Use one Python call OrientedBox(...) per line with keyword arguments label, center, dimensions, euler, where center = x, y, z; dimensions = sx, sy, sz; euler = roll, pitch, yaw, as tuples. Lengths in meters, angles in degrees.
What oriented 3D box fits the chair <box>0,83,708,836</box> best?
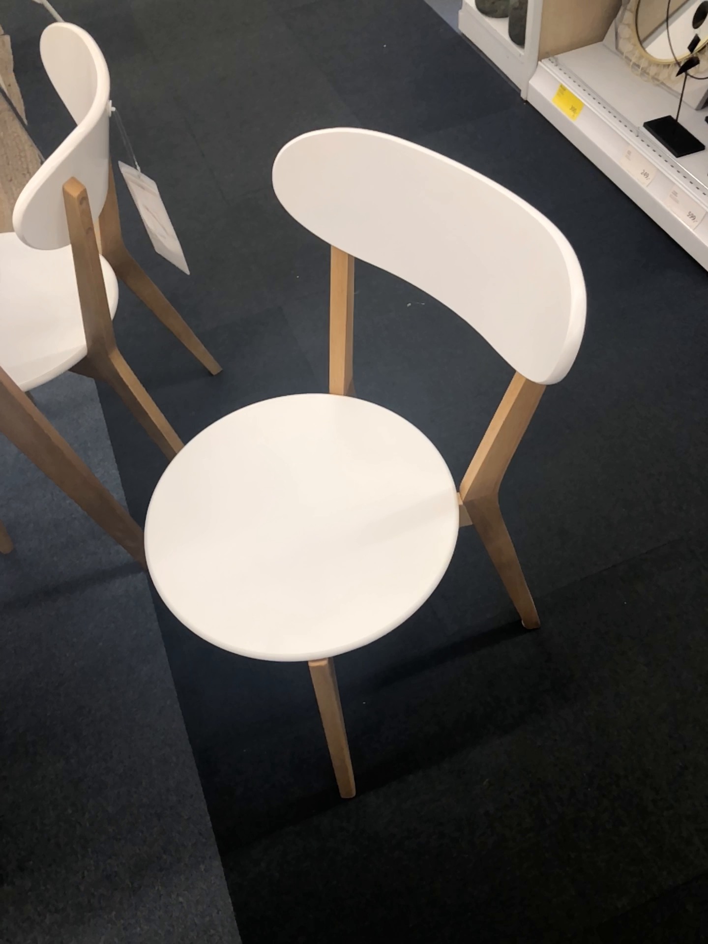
OrientedBox(label="chair", center=(-0.001, 0.002, 0.974), dimensions=(0.561, 0.598, 0.481), euler=(-38, 59, -19))
